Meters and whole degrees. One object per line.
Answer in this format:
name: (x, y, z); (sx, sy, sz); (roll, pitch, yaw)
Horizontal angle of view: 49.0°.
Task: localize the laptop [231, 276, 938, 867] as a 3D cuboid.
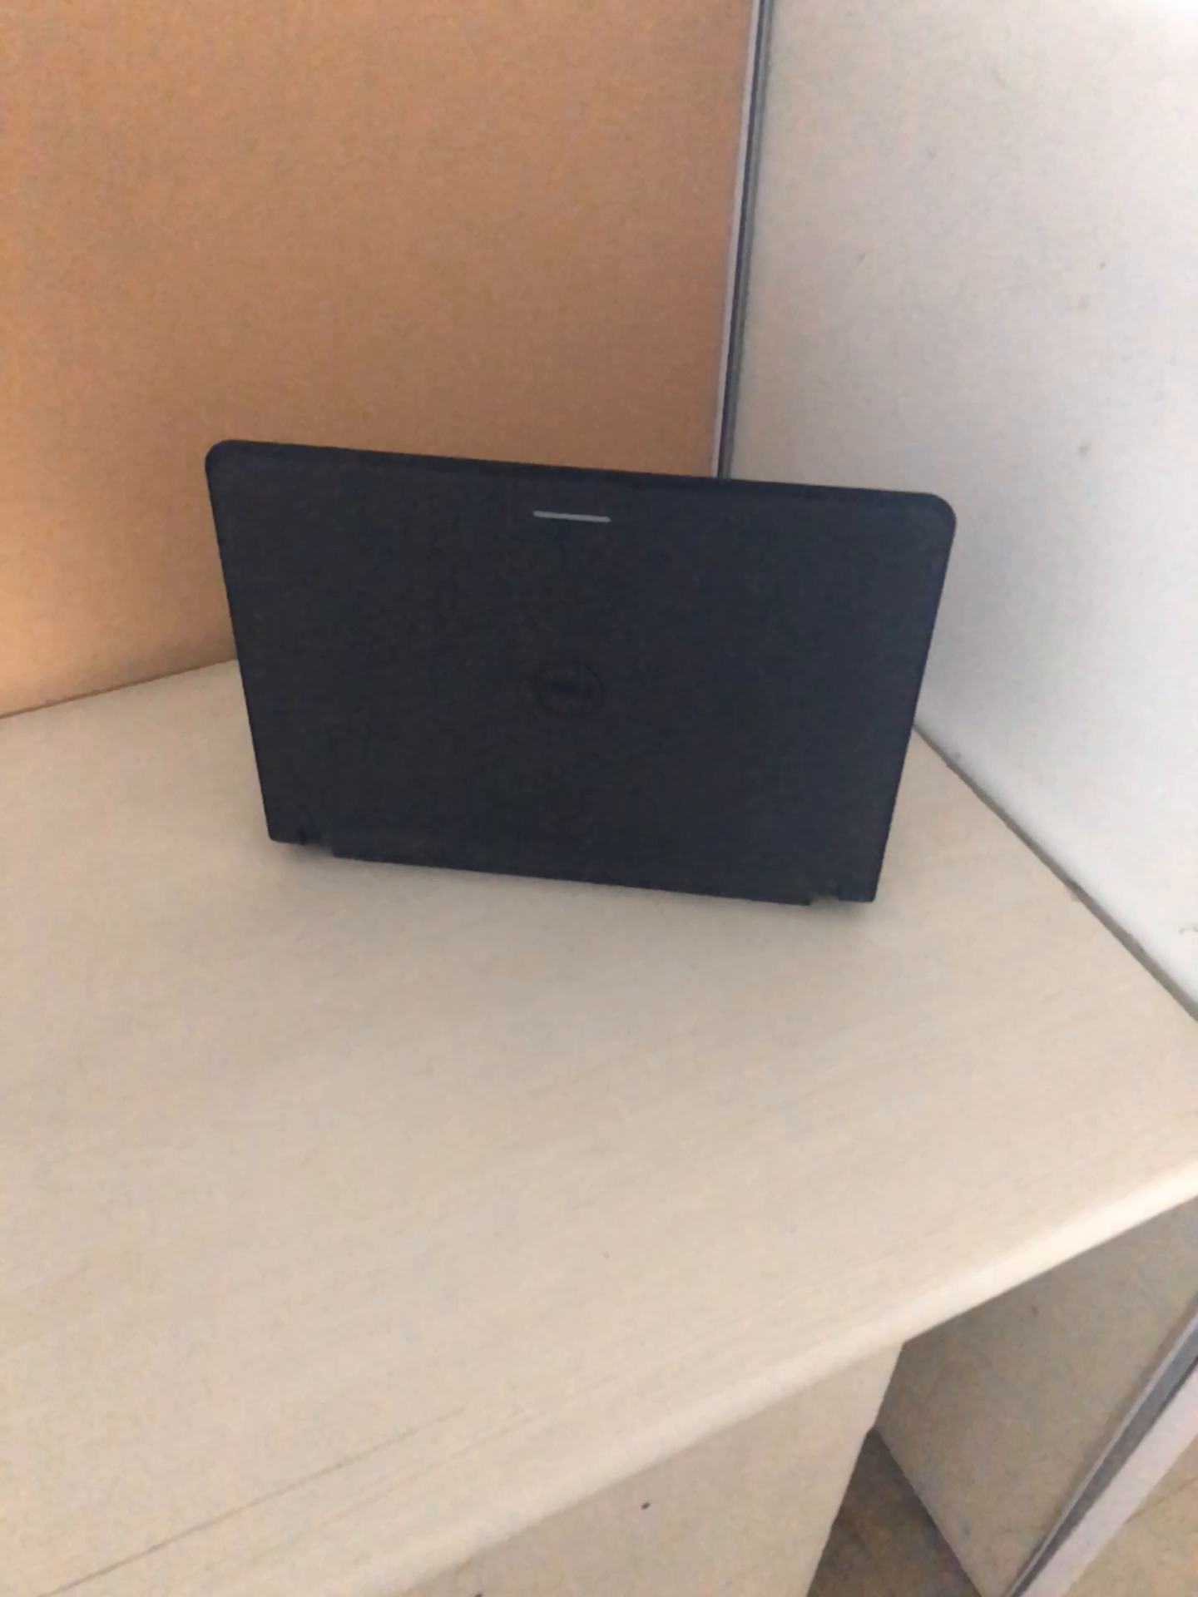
laptop: (0.004, -0.128, 0.712); (0.304, 0.211, 0.215); (6, 42, 5)
